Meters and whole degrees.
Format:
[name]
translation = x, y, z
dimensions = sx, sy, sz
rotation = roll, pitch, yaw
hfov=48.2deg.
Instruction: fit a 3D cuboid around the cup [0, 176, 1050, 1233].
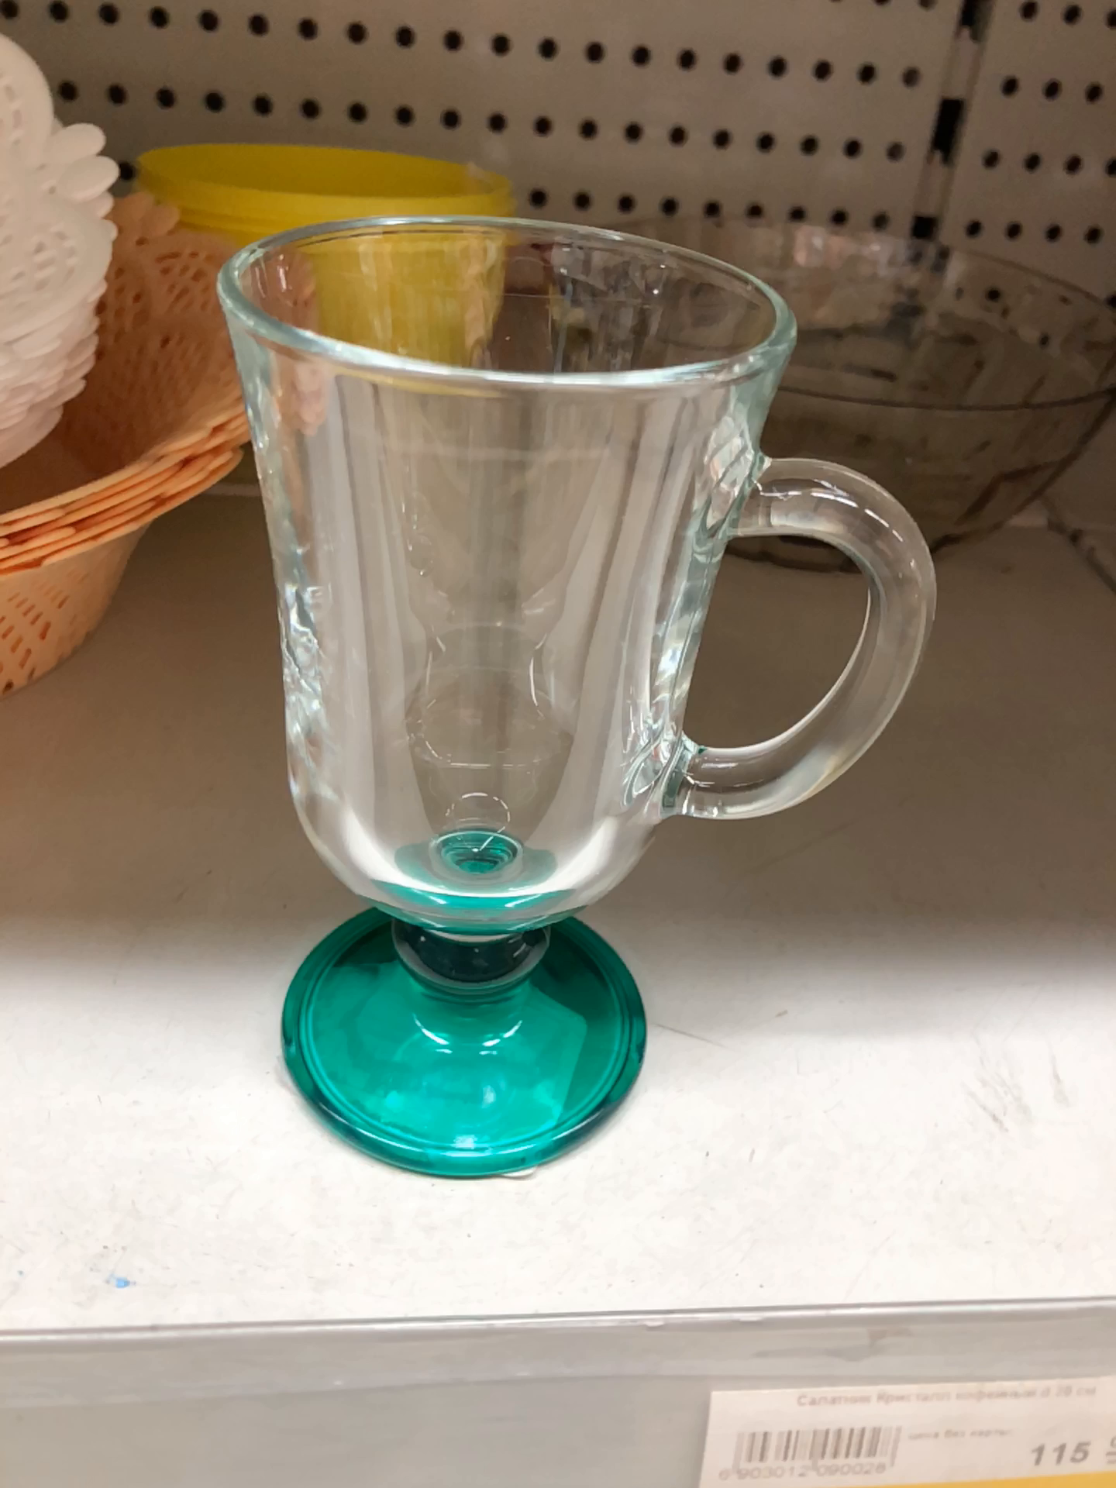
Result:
[cup]
translation = -0.006, -0.008, 0.184
dimensions = 0.107, 0.118, 0.086
rotation = 6, 36, 4
